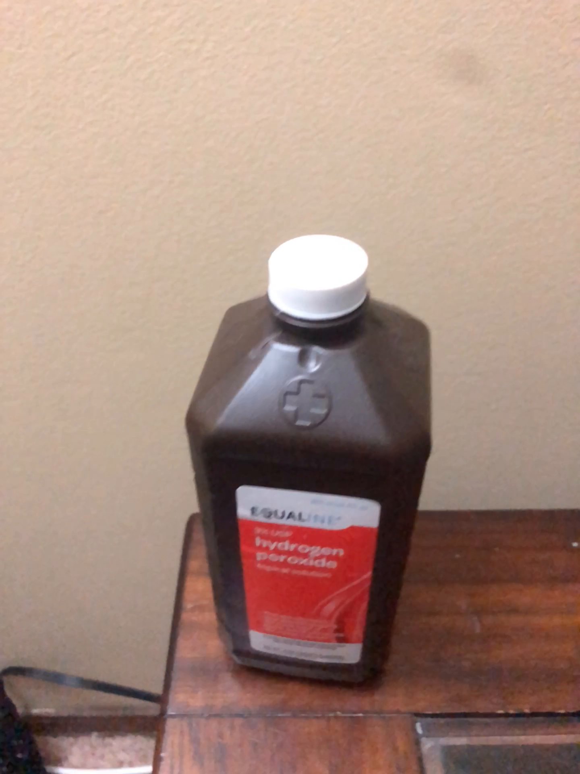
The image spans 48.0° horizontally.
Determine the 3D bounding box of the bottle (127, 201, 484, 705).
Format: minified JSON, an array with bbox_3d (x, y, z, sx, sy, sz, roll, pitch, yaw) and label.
[{"bbox_3d":[0.009,0.036,0.255,0.090,0.189,0.080,5,42,6],"label":"bottle"}]
